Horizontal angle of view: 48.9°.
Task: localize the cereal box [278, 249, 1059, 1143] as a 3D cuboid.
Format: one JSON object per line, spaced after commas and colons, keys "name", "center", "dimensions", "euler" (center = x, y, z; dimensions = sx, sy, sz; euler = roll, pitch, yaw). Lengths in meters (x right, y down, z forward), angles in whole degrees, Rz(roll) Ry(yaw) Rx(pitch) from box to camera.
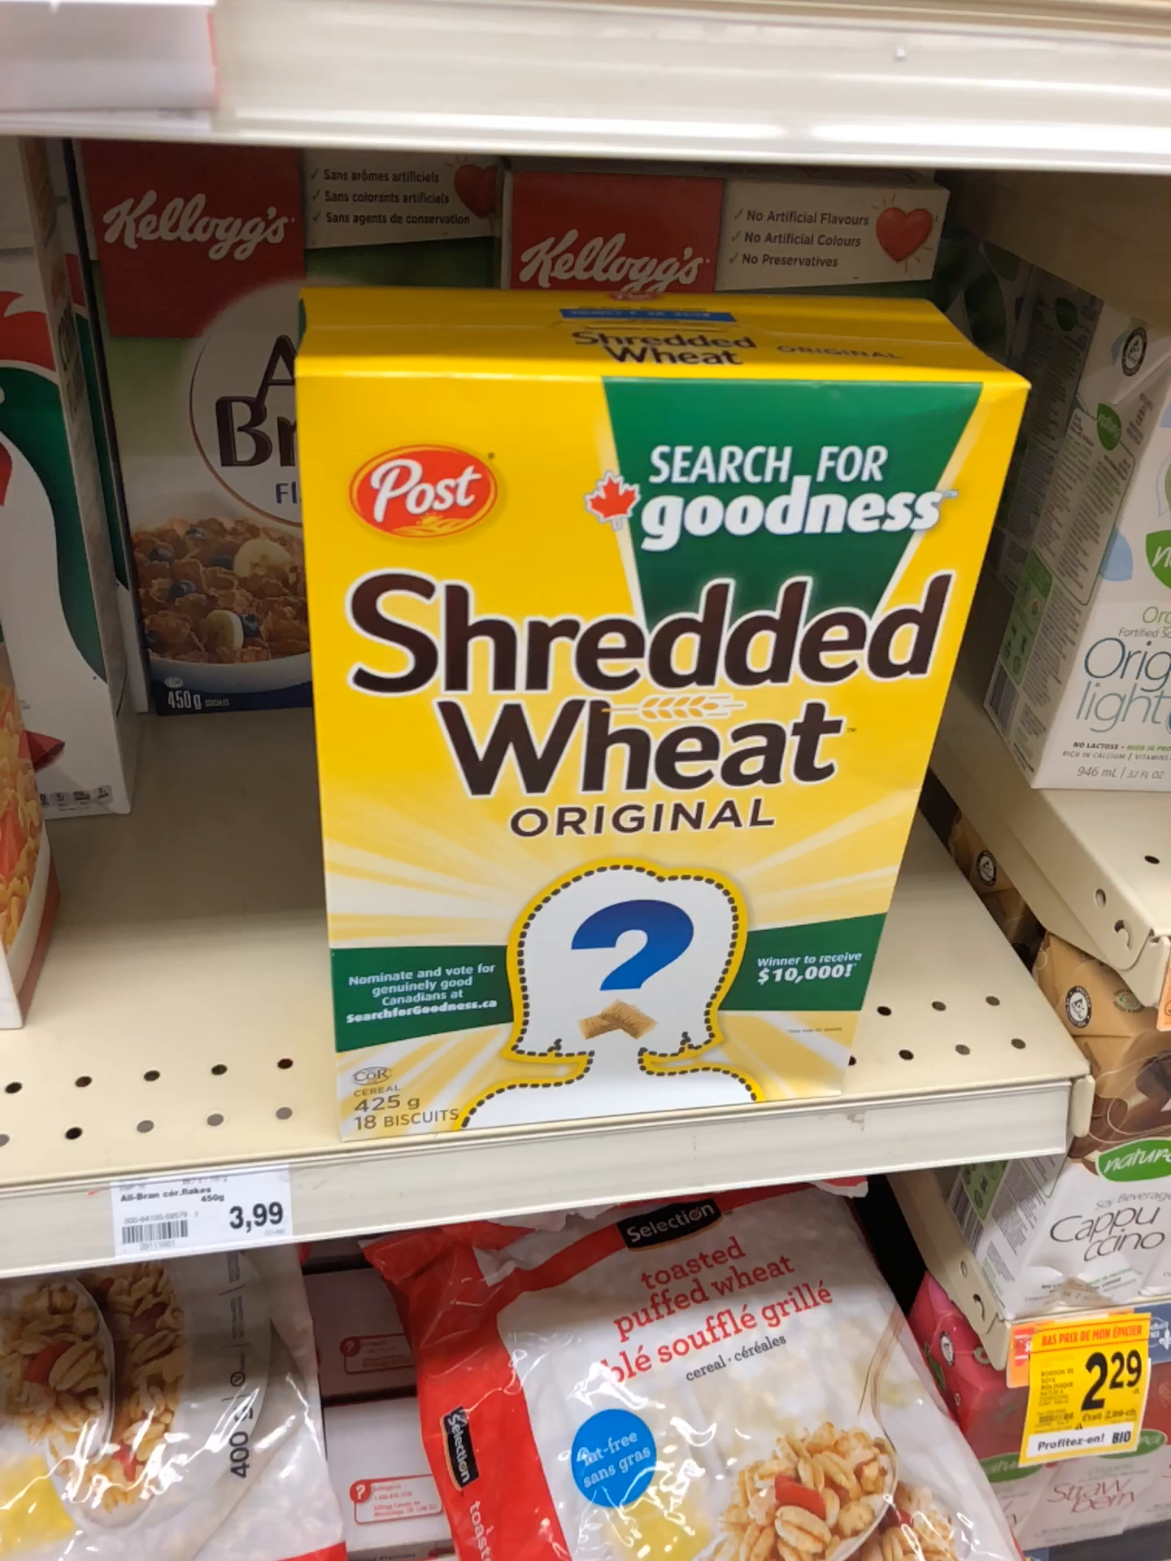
{"name": "cereal box", "center": [0.011, -0.016, 0.434], "dimensions": [0.200, 0.288, 0.081], "euler": [-3, 35, -10]}
